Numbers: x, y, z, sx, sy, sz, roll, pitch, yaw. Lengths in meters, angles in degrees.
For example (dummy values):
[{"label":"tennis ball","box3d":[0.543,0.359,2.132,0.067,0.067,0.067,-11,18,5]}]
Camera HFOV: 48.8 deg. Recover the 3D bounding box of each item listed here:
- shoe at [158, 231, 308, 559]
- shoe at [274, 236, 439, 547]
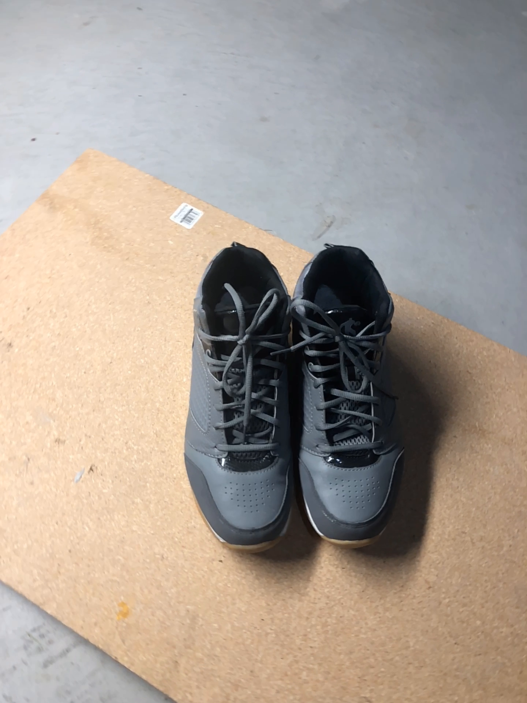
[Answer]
[{"label":"shoe","box3d":[-0.025,0.037,0.544,0.110,0.120,0.280,0,62,-2]},{"label":"shoe","box3d":[0.073,0.038,0.563,0.100,0.140,0.260,-3,62,-3]}]
